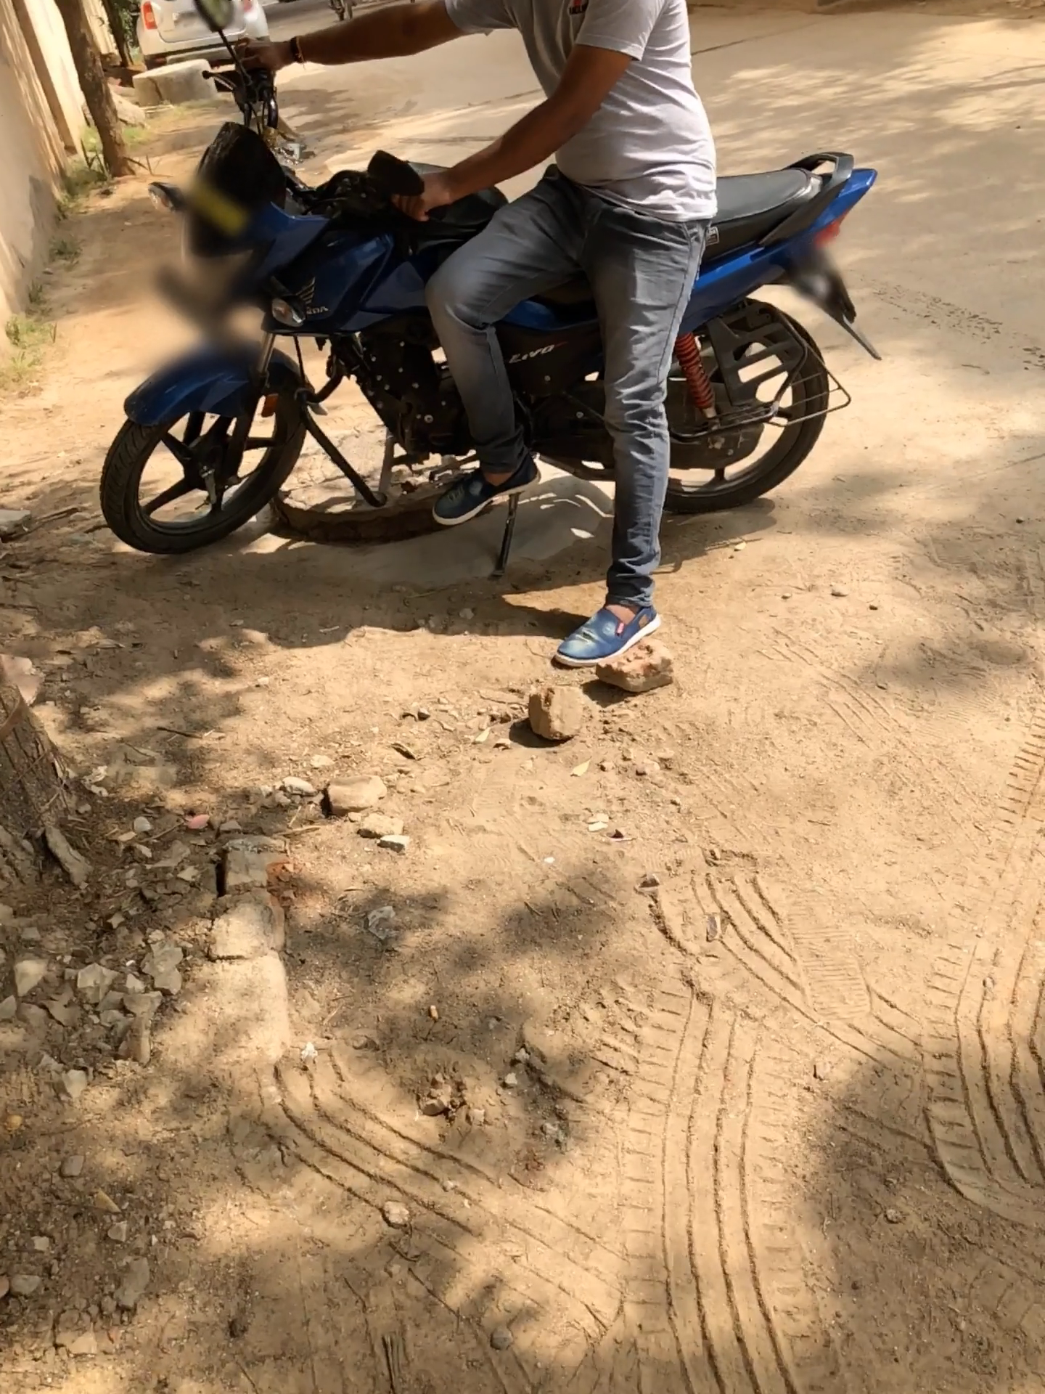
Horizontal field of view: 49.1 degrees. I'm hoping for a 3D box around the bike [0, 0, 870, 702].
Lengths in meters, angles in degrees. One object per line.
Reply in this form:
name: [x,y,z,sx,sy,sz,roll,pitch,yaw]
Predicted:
bike: [-0.206,-0.832,2.582,1.783,1.242,0.744,-9,34,1]
